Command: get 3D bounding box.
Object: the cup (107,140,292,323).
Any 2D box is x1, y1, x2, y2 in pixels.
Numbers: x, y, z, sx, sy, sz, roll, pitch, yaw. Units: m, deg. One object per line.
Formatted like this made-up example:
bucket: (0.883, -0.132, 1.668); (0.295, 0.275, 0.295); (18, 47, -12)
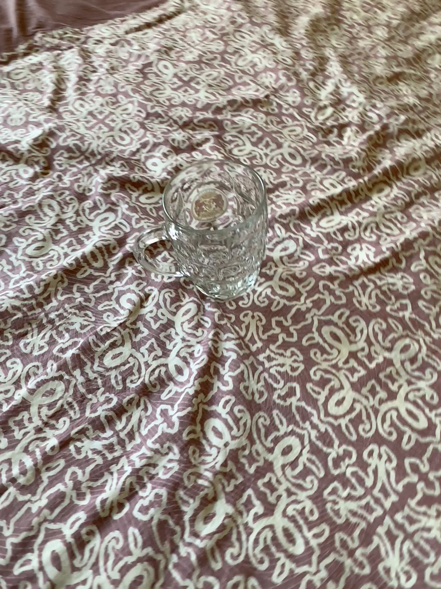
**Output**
cup: (-0.021, -0.056, 0.412); (0.130, 0.109, 0.091); (-14, 55, -12)
